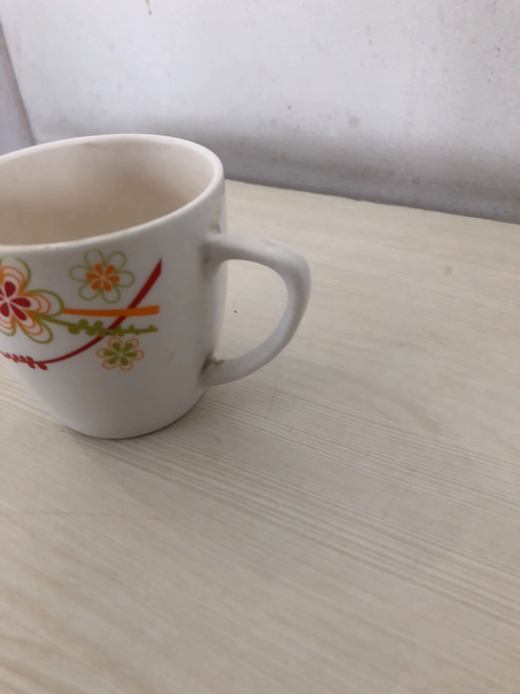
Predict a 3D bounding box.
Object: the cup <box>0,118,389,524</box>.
[{"bbox_3d":[-0.029,-0.015,0.165,0.110,0.070,0.070,12,40,19],"label":"cup"}]
